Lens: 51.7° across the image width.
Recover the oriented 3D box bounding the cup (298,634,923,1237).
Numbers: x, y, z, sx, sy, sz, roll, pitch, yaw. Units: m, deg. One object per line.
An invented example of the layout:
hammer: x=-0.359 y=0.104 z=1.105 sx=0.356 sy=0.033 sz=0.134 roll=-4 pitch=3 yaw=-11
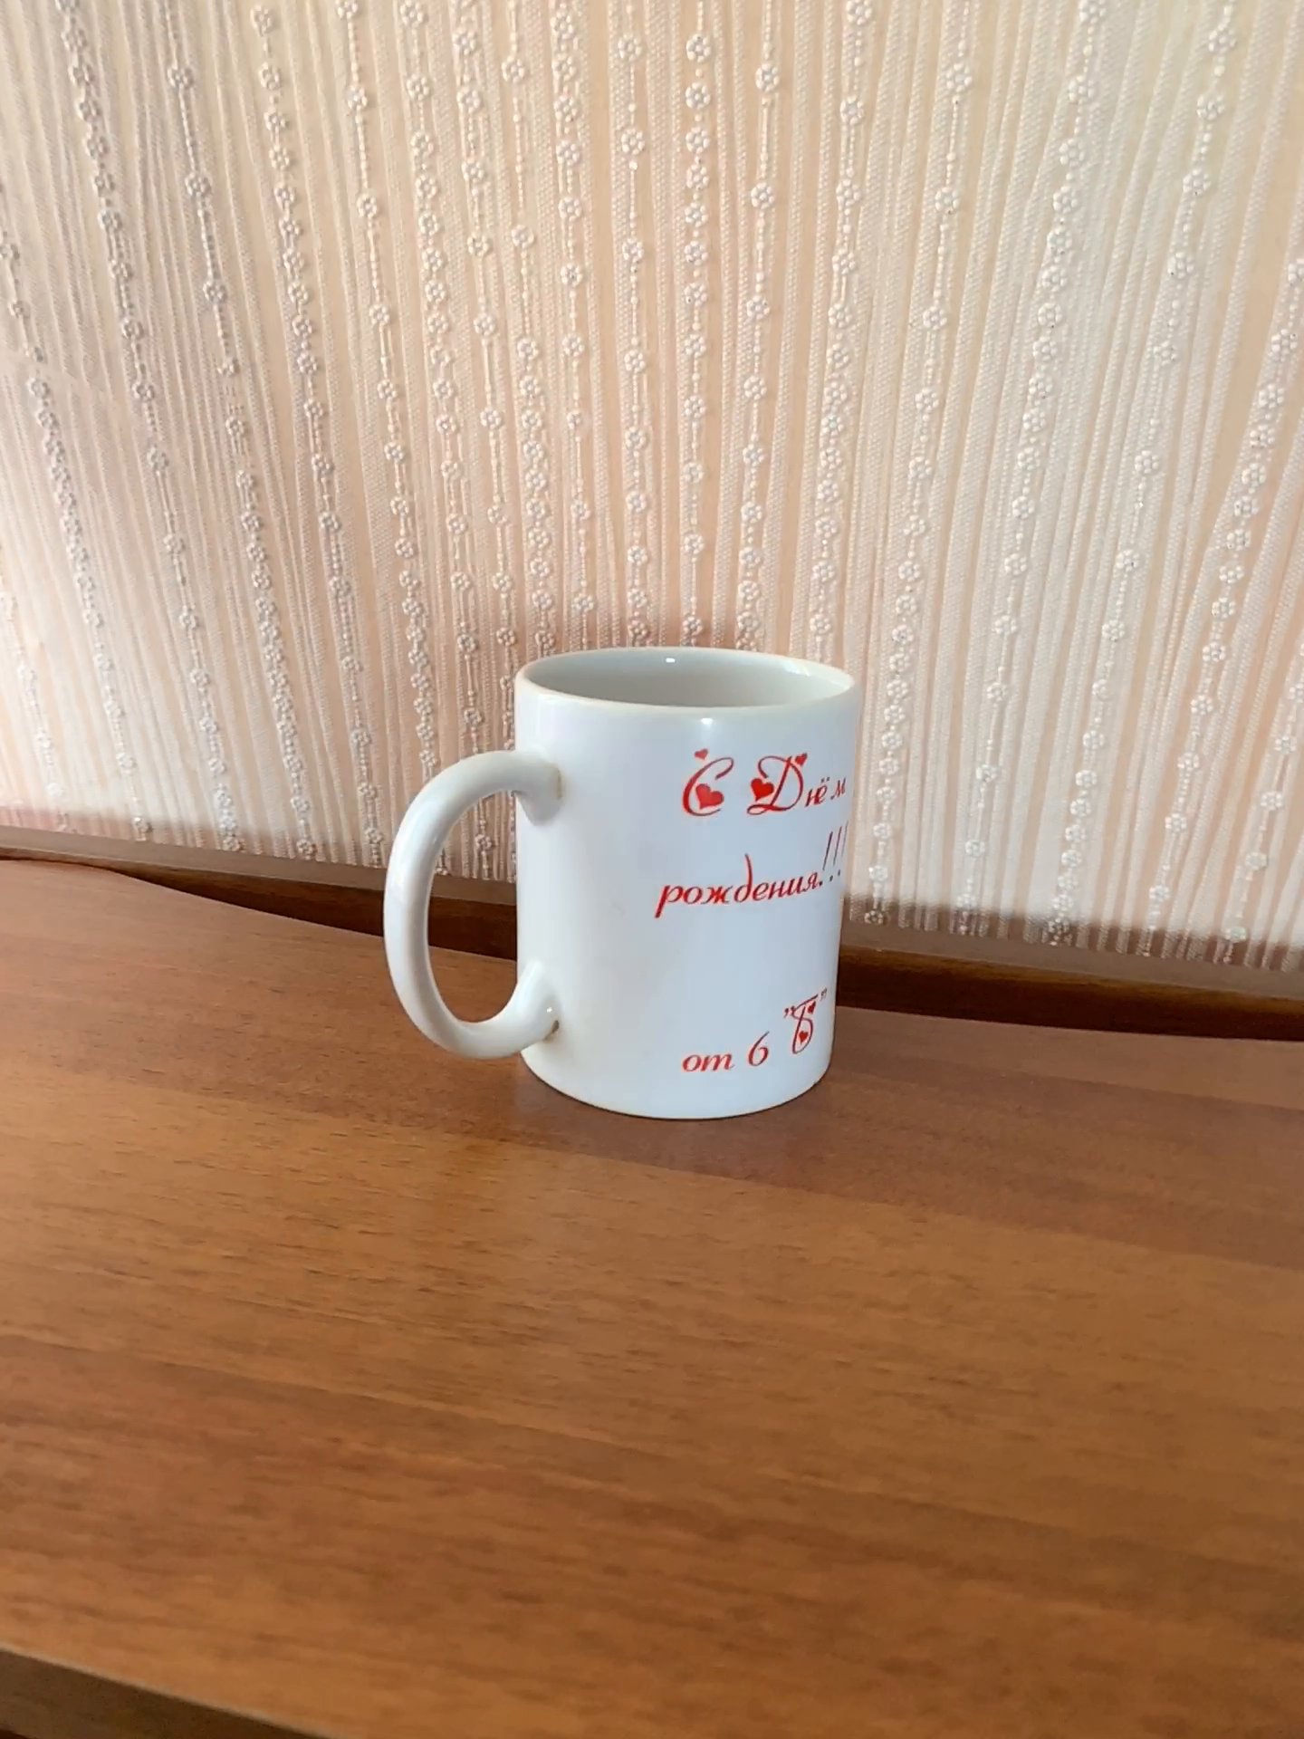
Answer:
cup: x=-0.012 y=0.005 z=0.322 sx=0.117 sy=0.105 sz=0.082 roll=-9 pitch=20 yaw=-32
